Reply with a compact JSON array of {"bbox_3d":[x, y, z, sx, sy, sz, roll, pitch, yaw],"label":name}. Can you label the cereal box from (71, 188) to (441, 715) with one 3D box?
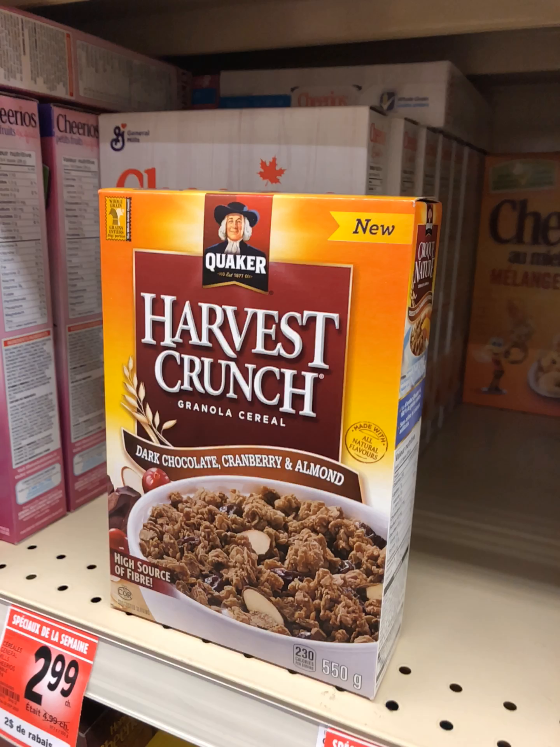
[{"bbox_3d":[-0.017,0.029,0.329,0.170,0.239,0.060,8,15,24],"label":"cereal box"}]
